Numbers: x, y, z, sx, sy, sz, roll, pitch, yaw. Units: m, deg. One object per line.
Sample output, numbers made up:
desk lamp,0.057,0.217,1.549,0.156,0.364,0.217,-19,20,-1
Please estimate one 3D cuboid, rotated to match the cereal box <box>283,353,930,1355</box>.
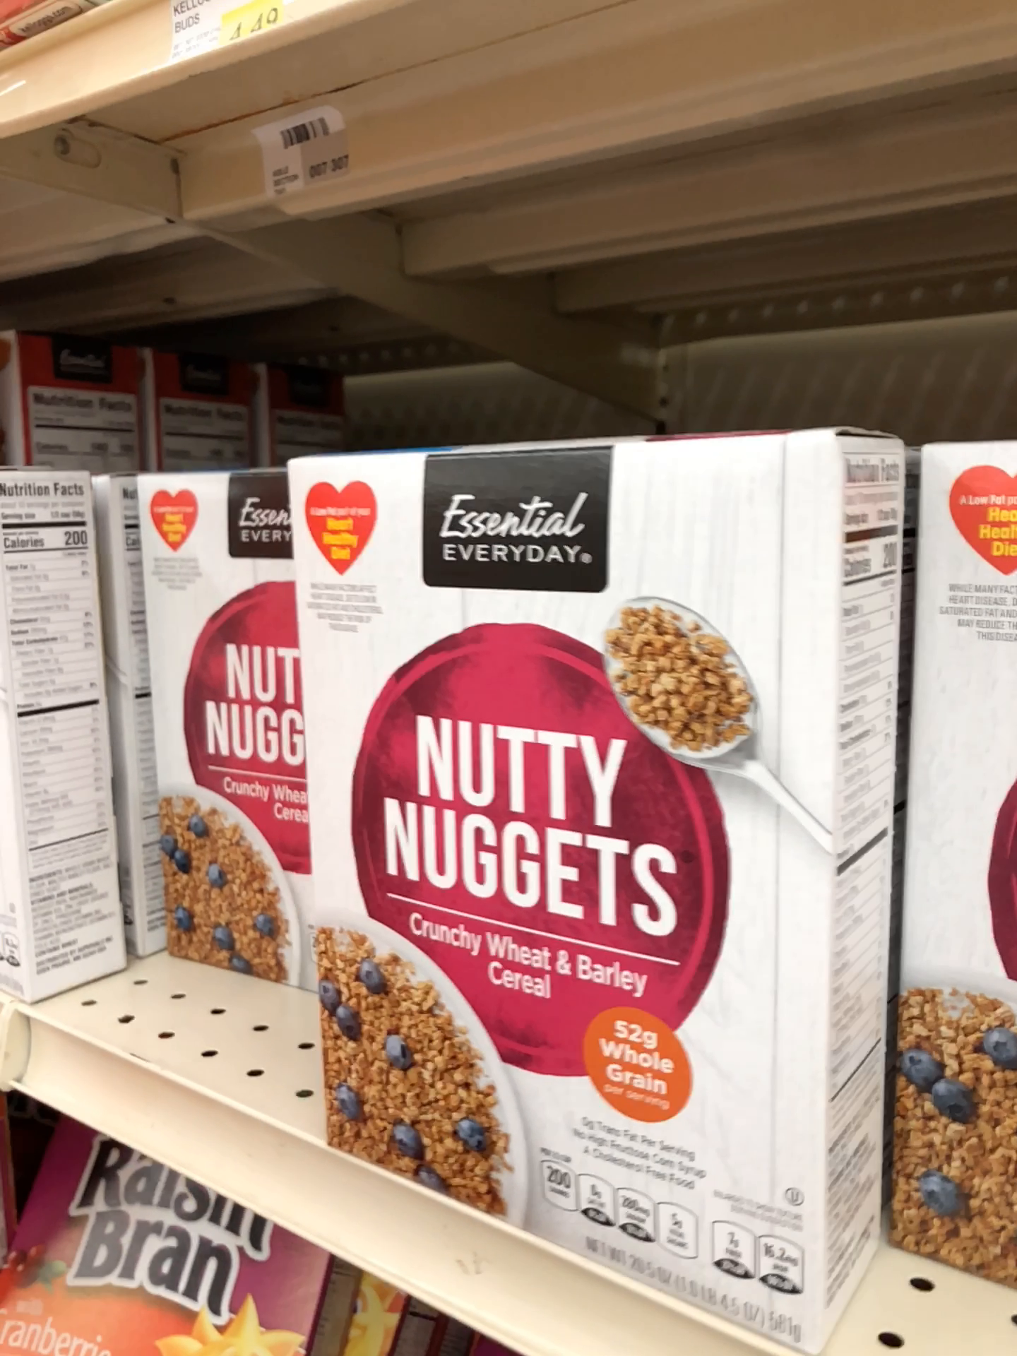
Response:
cereal box,0.020,0.038,0.319,0.170,0.230,0.050,5,10,35
